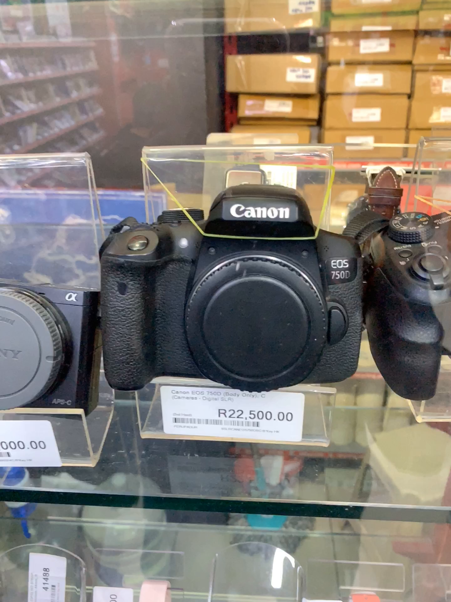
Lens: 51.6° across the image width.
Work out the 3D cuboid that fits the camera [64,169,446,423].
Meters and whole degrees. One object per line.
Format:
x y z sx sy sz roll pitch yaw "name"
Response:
0.009 -0.005 0.210 0.130 0.090 0.070 1 28 -1 "camera"
